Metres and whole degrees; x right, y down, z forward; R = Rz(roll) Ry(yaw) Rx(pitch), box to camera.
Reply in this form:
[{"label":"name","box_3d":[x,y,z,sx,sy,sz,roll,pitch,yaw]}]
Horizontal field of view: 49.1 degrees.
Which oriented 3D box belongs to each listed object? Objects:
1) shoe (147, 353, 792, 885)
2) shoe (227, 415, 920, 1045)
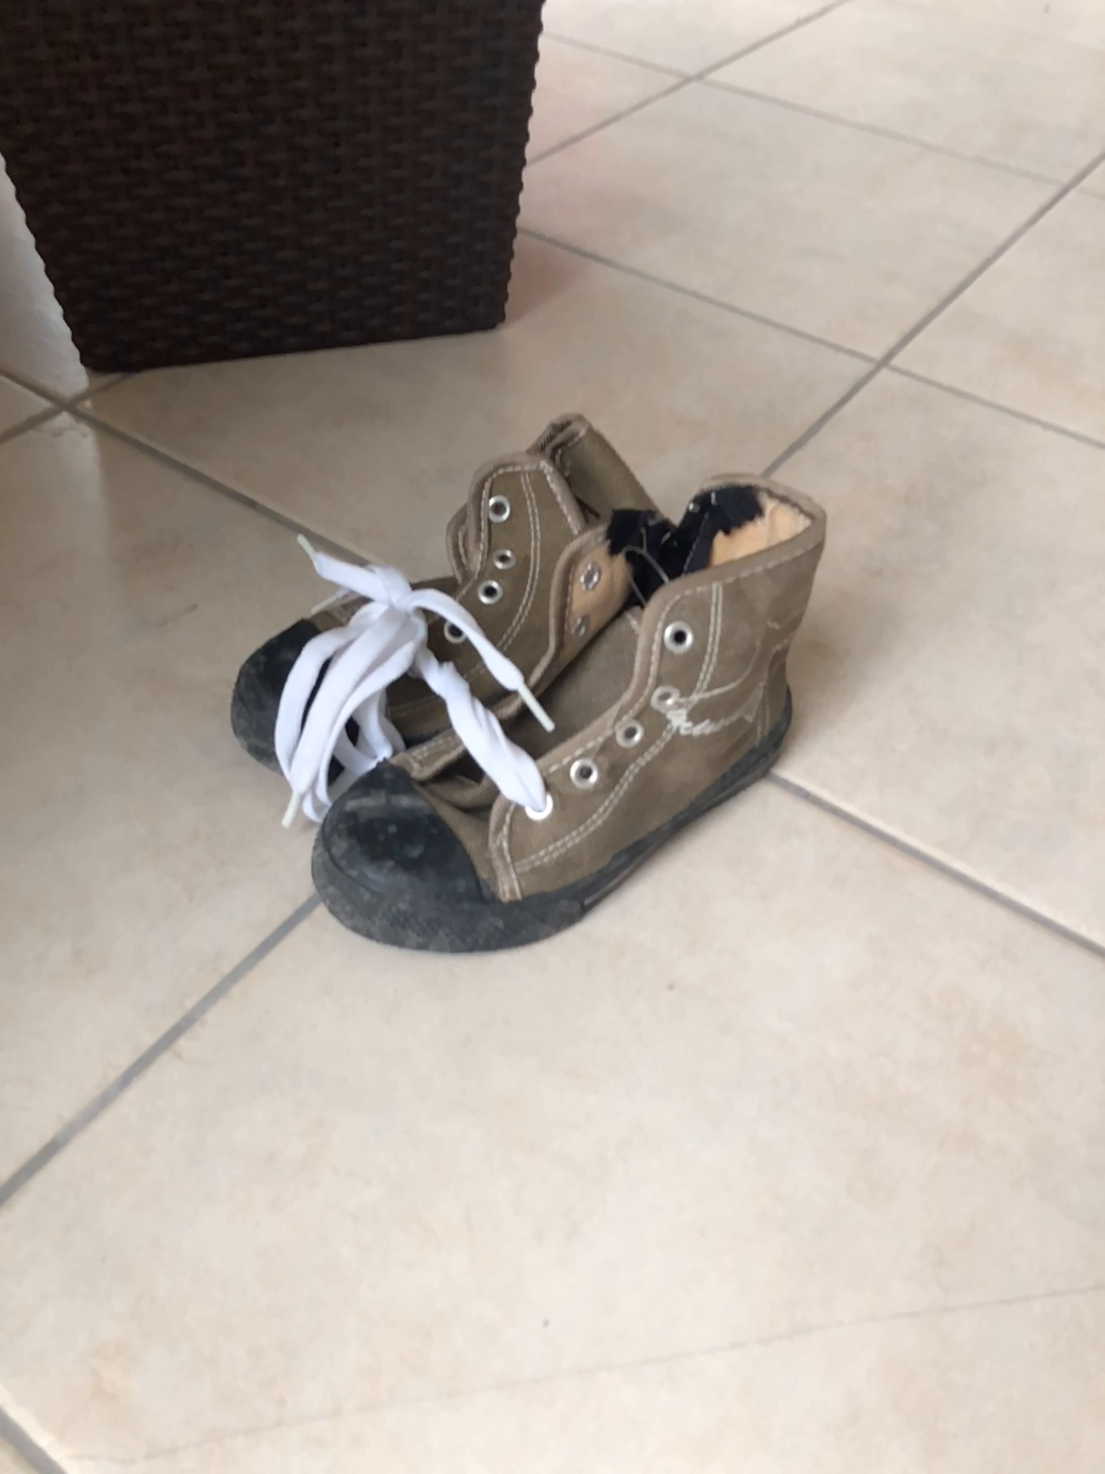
[{"label":"shoe","box_3d":[-0.025,-0.048,0.441,0.201,0.109,0.080,-23,52,-24]},{"label":"shoe","box_3d":[0.011,-0.009,0.398,0.201,0.109,0.080,-28,54,-27]}]
